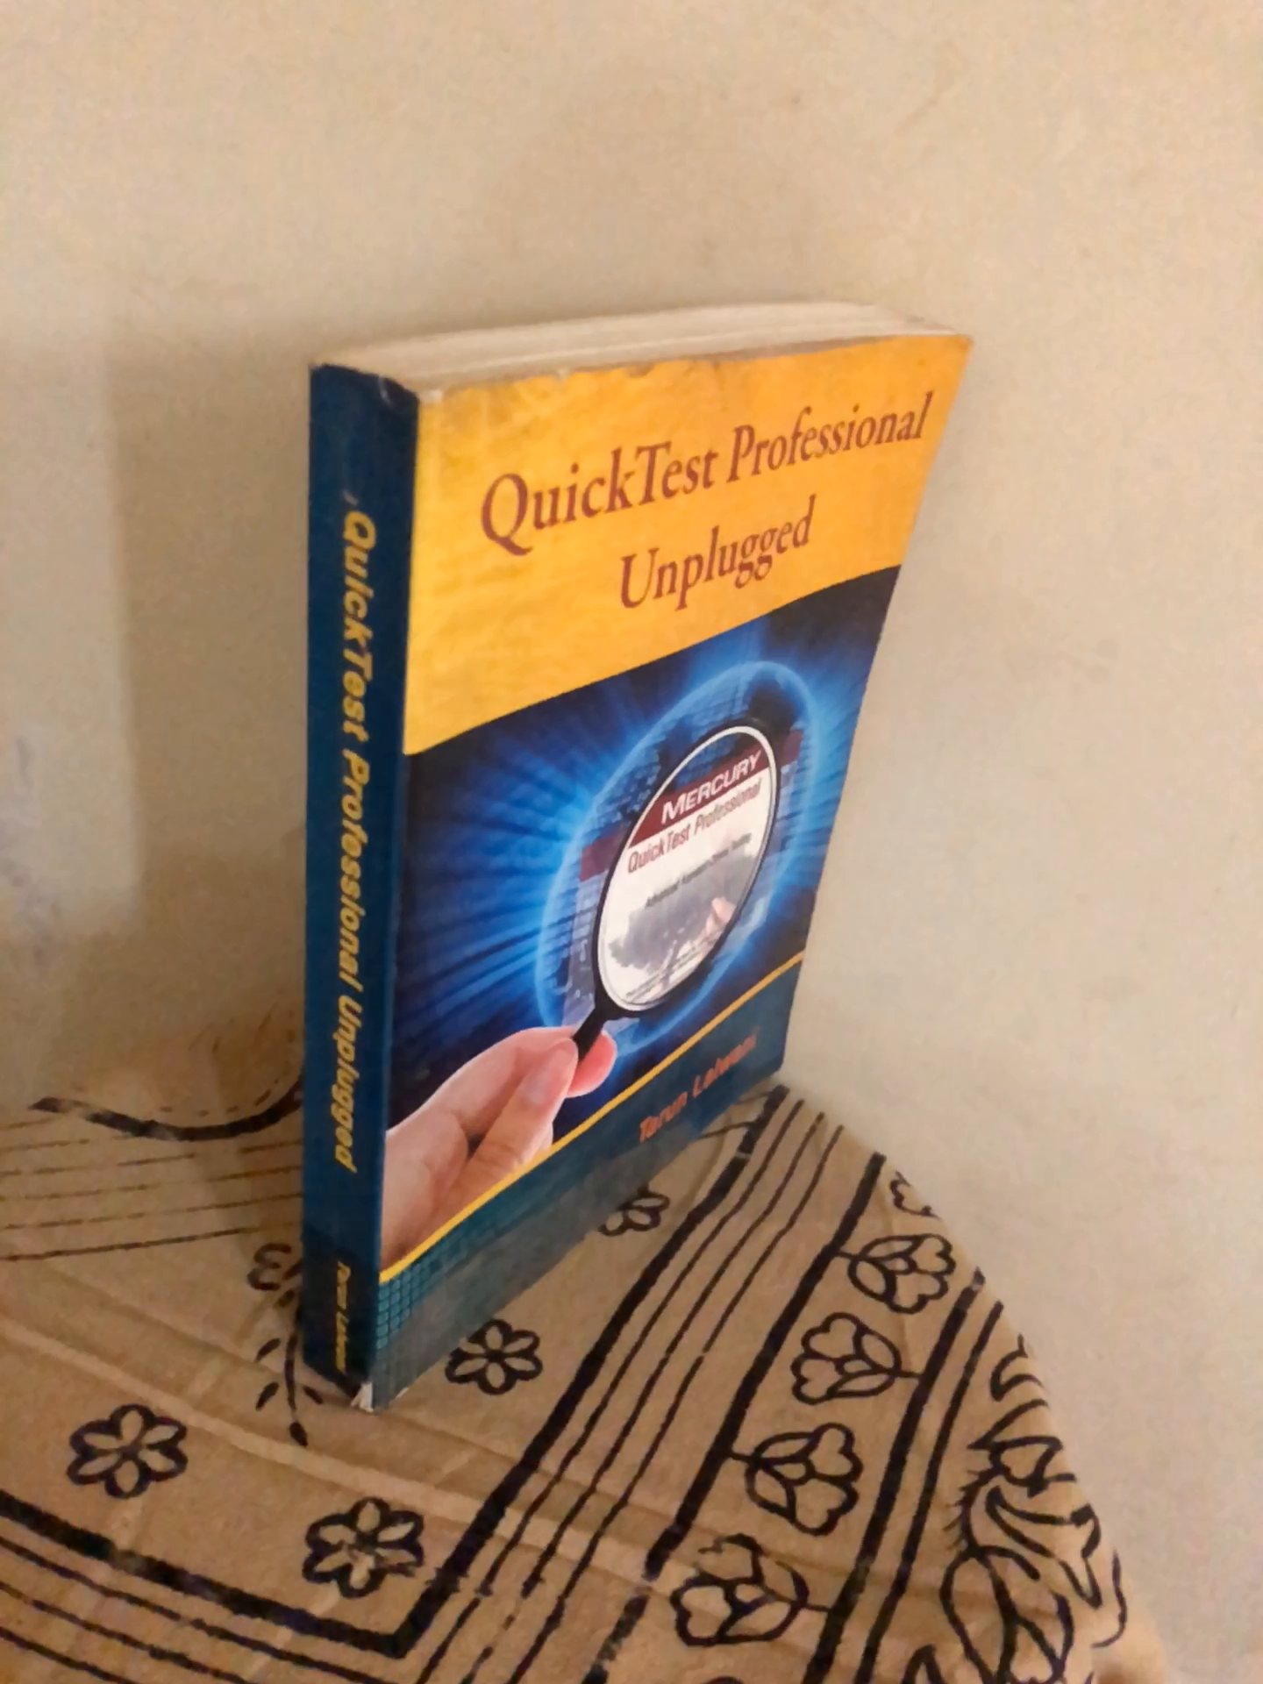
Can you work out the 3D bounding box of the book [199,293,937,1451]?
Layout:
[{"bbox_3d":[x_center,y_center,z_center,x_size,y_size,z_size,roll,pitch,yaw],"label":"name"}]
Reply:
[{"bbox_3d":[-0.014,-0.005,0.387,0.050,0.269,0.211,24,31,30],"label":"book"}]
